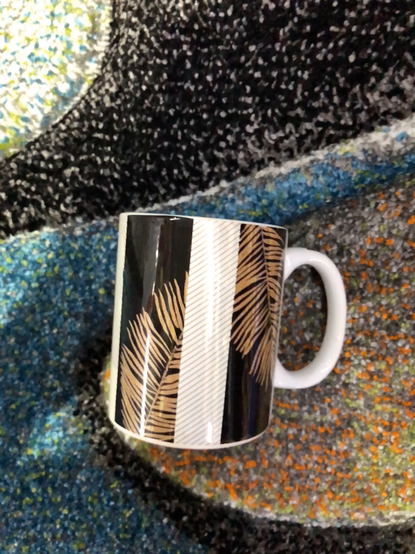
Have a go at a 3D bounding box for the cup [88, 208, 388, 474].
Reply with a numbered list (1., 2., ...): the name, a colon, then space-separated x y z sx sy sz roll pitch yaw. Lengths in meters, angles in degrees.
1. cup: 0.008 0.023 0.222 0.120 0.070 0.100 2 96 -16
